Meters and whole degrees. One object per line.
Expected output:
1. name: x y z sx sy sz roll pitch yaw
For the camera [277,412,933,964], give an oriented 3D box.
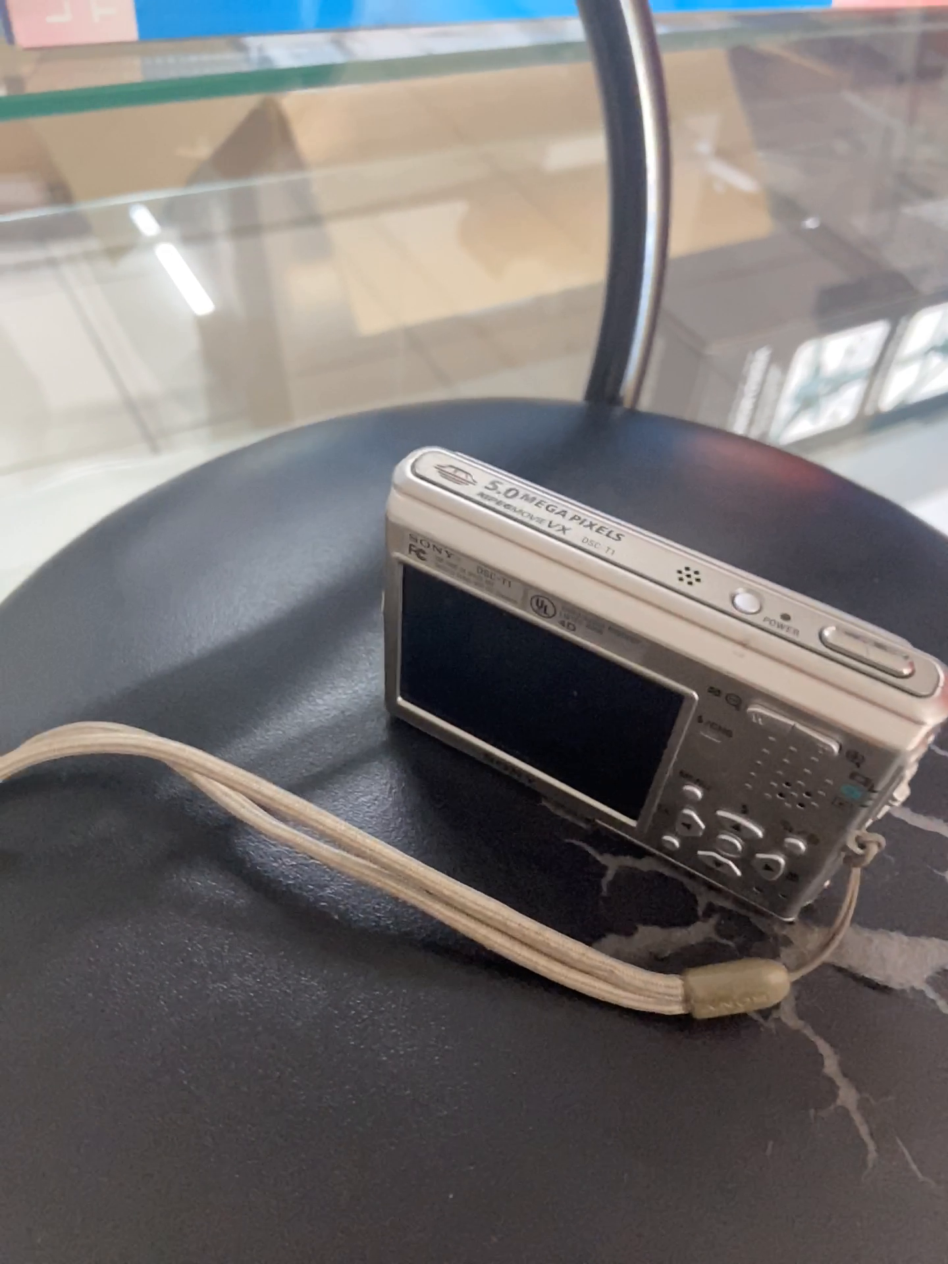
1. camera: 0.017 0.010 0.179 0.100 0.060 0.030 24 50 16
